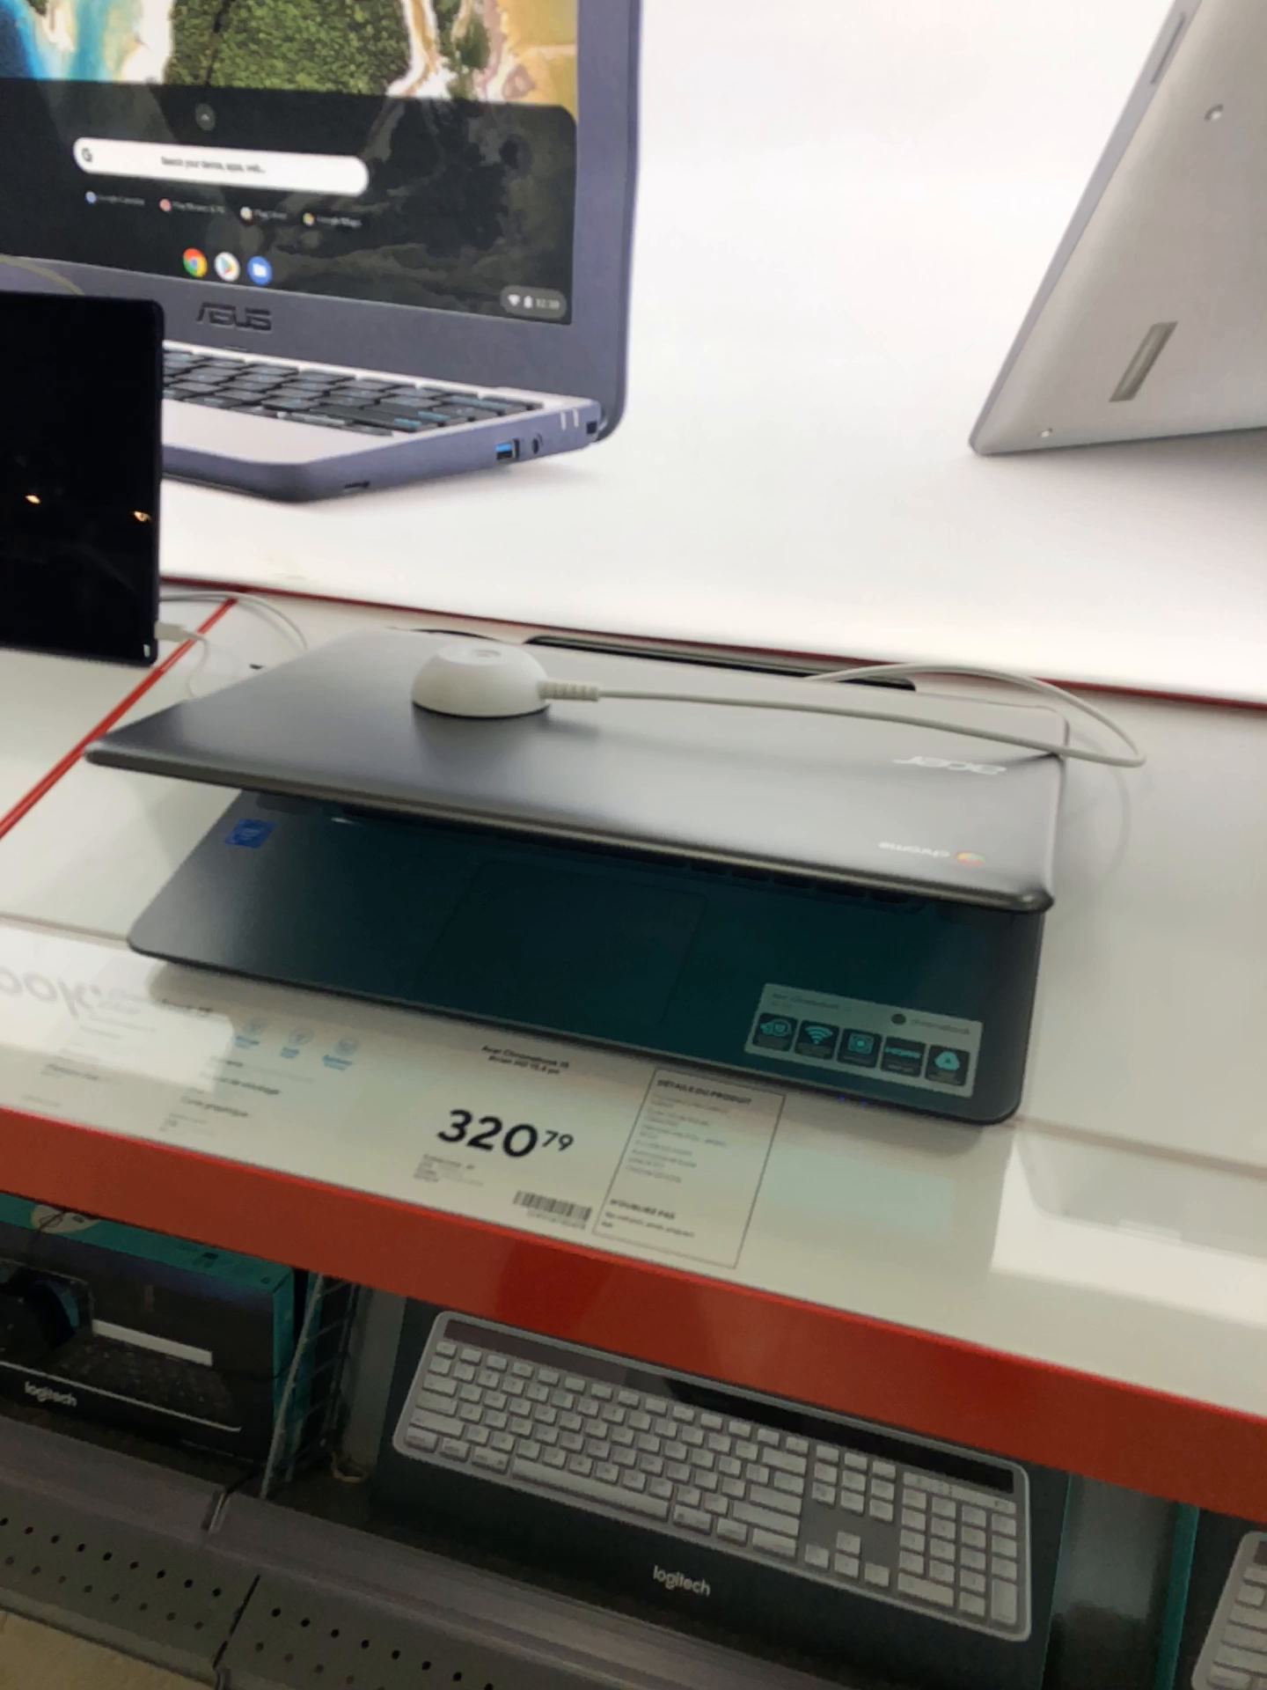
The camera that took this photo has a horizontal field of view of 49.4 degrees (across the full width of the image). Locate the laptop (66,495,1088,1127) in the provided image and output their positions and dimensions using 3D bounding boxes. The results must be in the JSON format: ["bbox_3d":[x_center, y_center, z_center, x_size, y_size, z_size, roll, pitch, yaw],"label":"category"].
[{"bbox_3d":[-0.007,-0.041,0.599,0.370,0.088,0.249,9,41,17],"label":"laptop"}]
